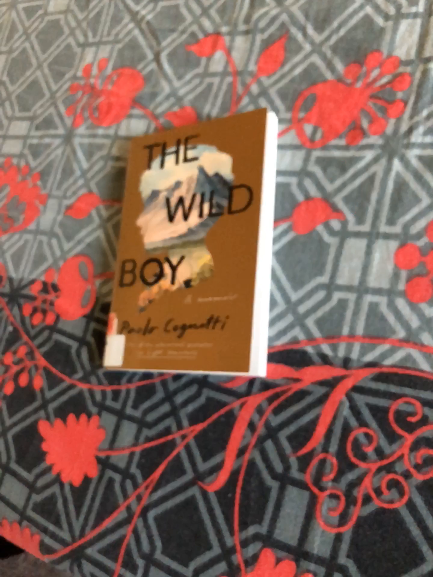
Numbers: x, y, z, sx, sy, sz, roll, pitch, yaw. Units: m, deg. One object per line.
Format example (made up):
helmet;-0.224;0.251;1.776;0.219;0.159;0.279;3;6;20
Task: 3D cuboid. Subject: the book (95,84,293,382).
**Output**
book;-0.018;-0.043;0.406;0.150;0.030;0.230;-4;73;29
